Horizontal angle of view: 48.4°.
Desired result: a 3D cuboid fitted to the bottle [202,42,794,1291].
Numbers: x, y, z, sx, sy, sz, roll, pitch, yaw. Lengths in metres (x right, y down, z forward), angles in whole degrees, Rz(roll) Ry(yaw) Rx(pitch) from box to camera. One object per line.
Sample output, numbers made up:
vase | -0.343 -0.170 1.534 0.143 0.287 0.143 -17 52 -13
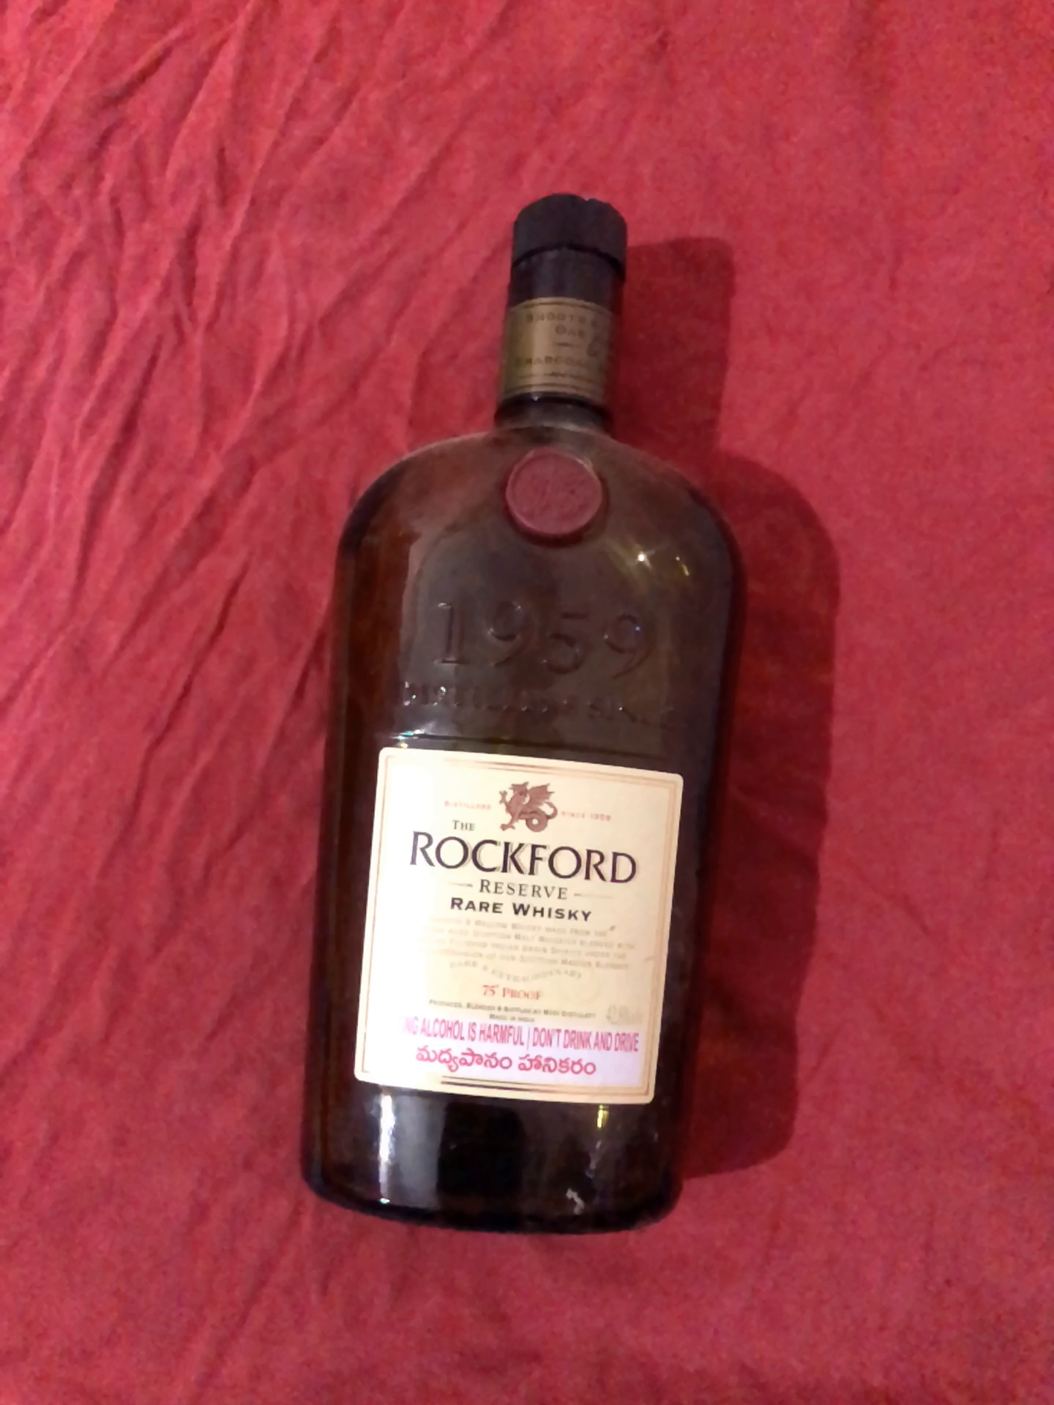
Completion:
bottle | -0.002 -0.012 0.268 0.100 0.060 0.250 5 82 -1
